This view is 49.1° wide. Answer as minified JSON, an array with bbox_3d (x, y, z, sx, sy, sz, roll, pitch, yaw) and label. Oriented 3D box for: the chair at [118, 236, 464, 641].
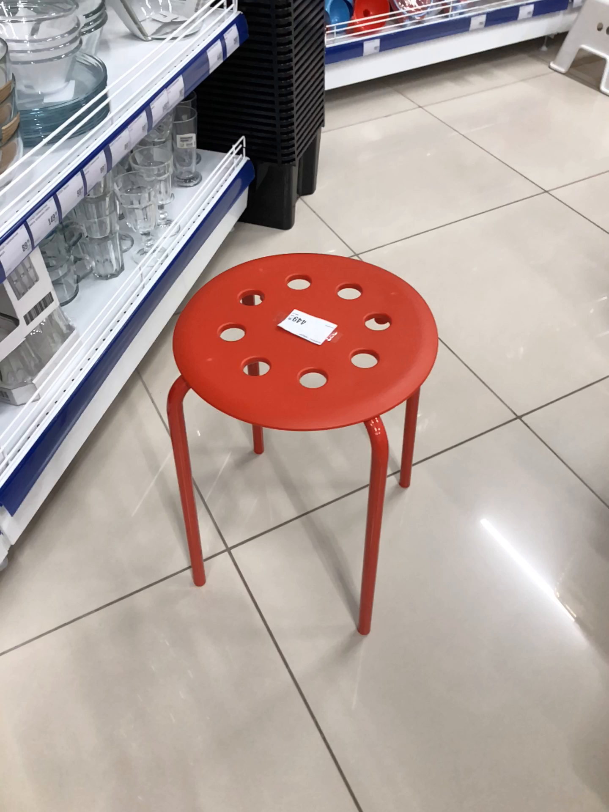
[{"bbox_3d":[0.005,0.049,0.927,0.320,0.404,0.315,13,49,13],"label":"chair"}]
